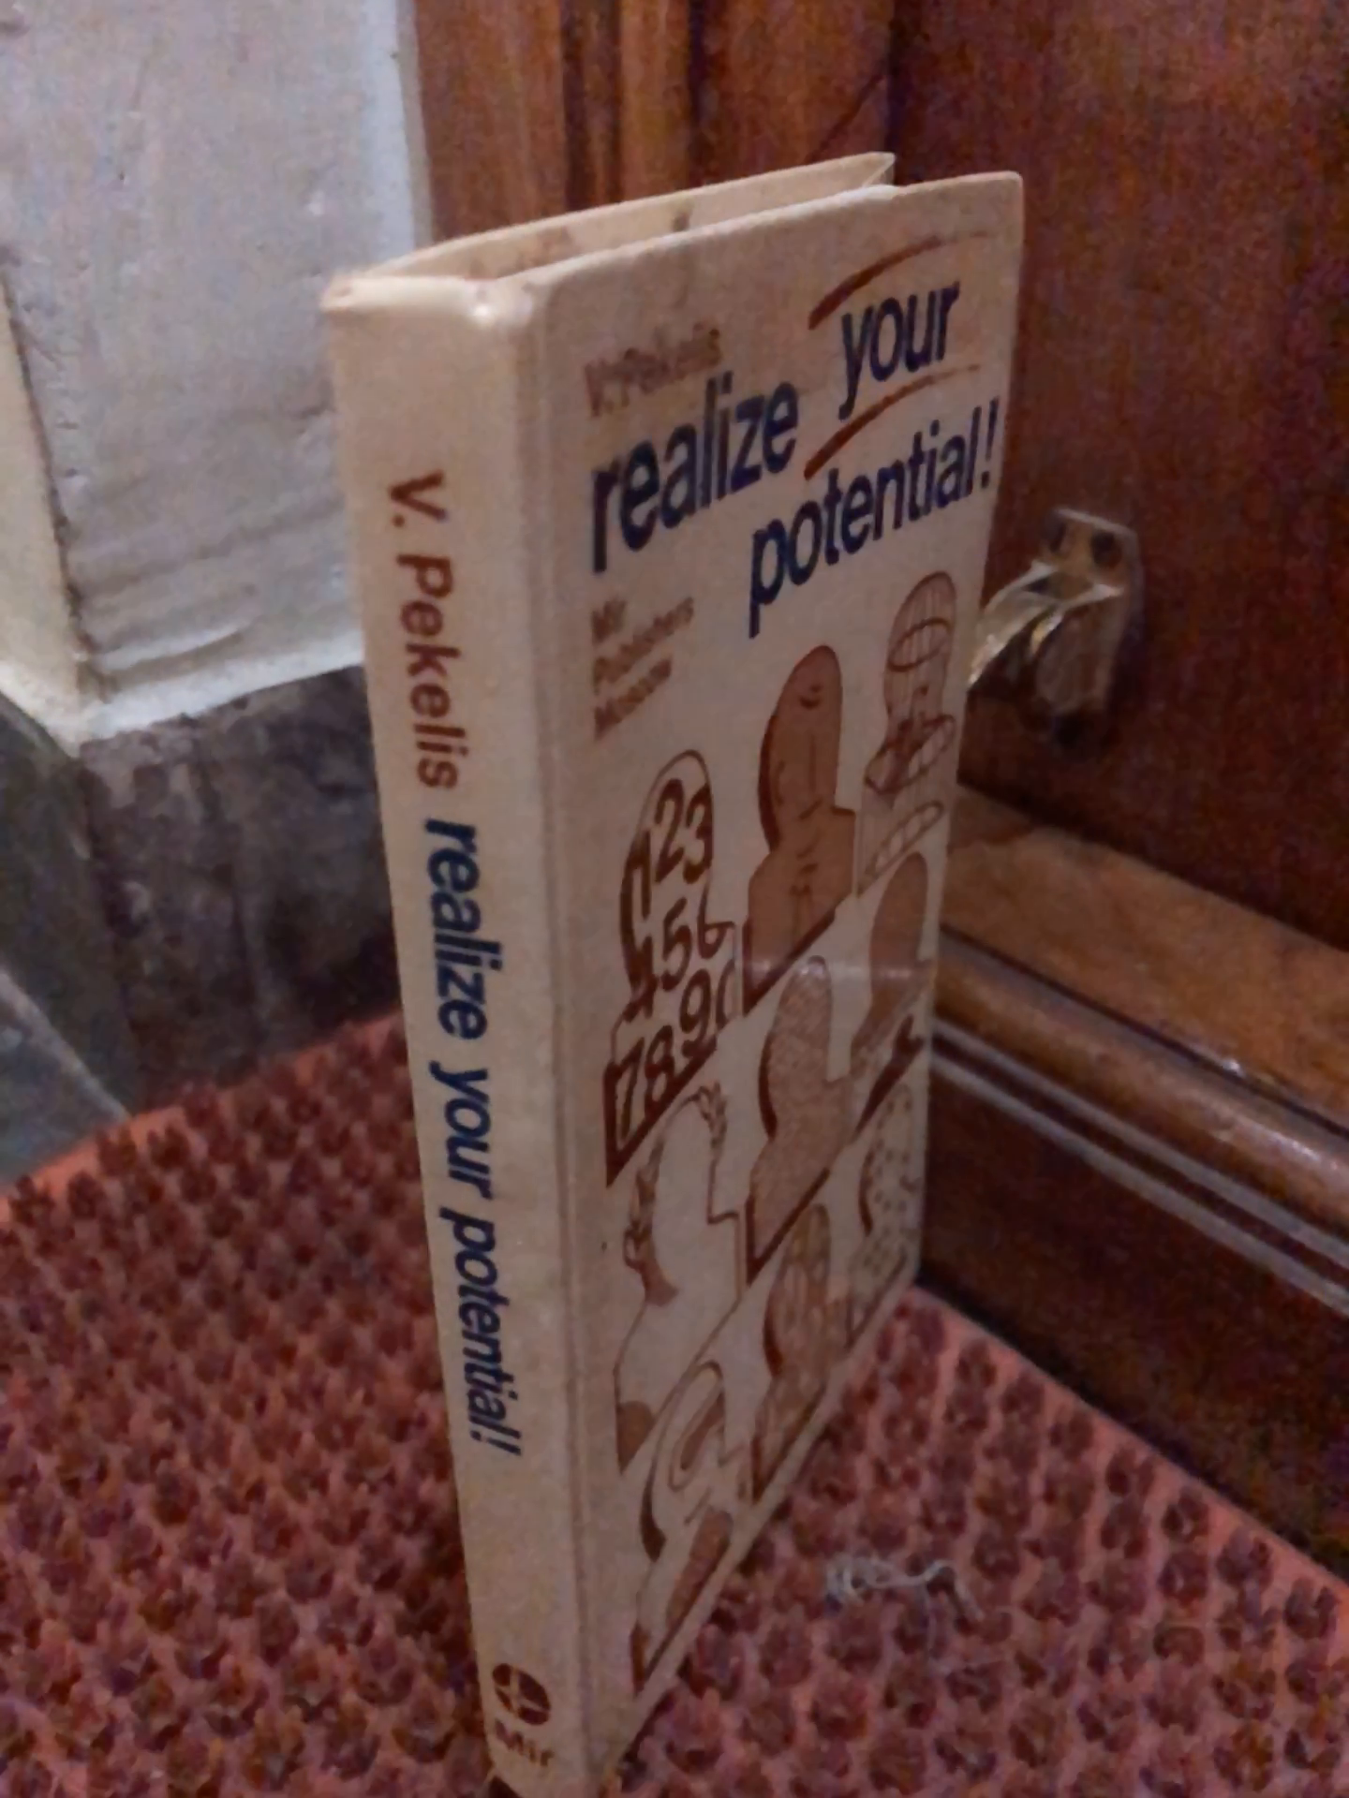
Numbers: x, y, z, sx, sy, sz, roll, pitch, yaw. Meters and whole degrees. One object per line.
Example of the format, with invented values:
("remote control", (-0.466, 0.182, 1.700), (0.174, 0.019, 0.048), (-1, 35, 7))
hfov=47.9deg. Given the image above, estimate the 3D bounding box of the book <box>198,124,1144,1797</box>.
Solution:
("book", (0.017, 0.008, 0.222), (0.030, 0.209, 0.151), (16, 34, 29))
